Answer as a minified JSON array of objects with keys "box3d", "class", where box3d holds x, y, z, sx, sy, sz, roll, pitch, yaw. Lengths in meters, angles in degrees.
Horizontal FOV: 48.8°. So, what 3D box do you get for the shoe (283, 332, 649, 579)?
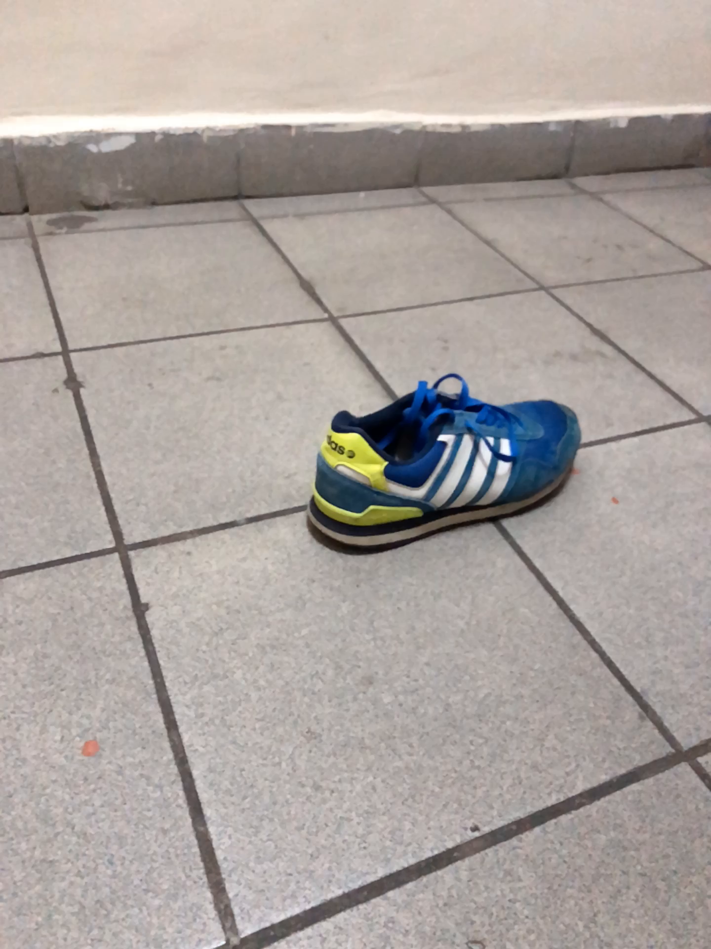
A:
[{"box3d":[0.095,-0.027,0.678,0.292,0.099,0.111,-17,44,-26],"class":"shoe"}]
